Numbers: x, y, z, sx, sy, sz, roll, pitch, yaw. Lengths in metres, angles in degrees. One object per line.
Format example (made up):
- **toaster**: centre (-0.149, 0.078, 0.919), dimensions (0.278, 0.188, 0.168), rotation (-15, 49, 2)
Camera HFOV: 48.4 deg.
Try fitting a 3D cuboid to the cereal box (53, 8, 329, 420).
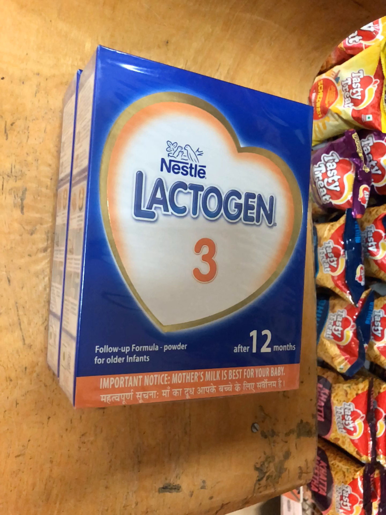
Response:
- **cereal box**: centre (0.002, -0.018, 0.268), dimensions (0.150, 0.060, 0.200), rotation (4, 89, -27)
